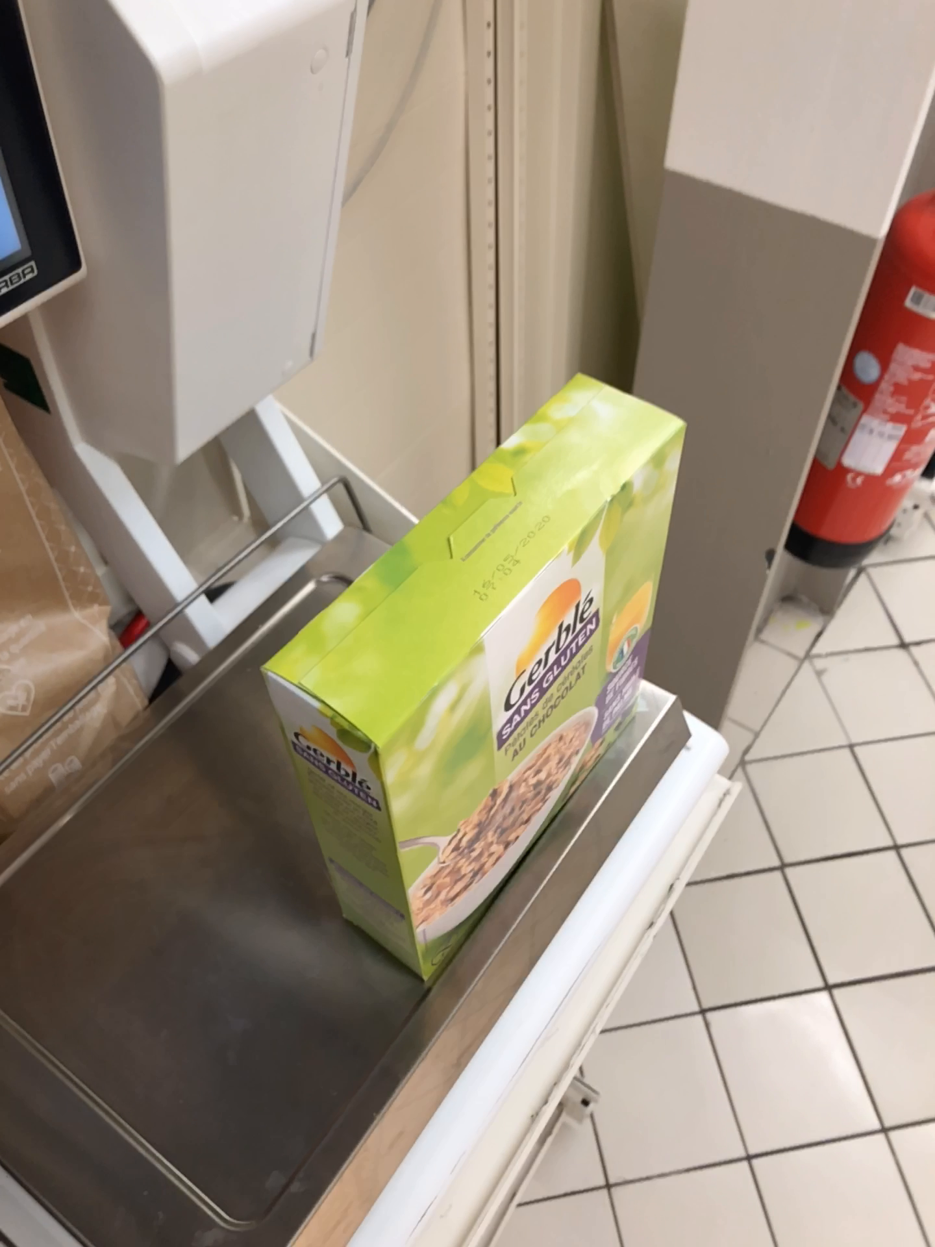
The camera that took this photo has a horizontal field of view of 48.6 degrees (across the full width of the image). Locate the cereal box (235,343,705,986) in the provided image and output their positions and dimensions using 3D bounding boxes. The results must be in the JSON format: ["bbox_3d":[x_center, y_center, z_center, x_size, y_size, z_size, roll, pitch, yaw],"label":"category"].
[{"bbox_3d":[0.013,0.027,0.462,0.060,0.219,0.201,31,60,23],"label":"cereal box"}]
